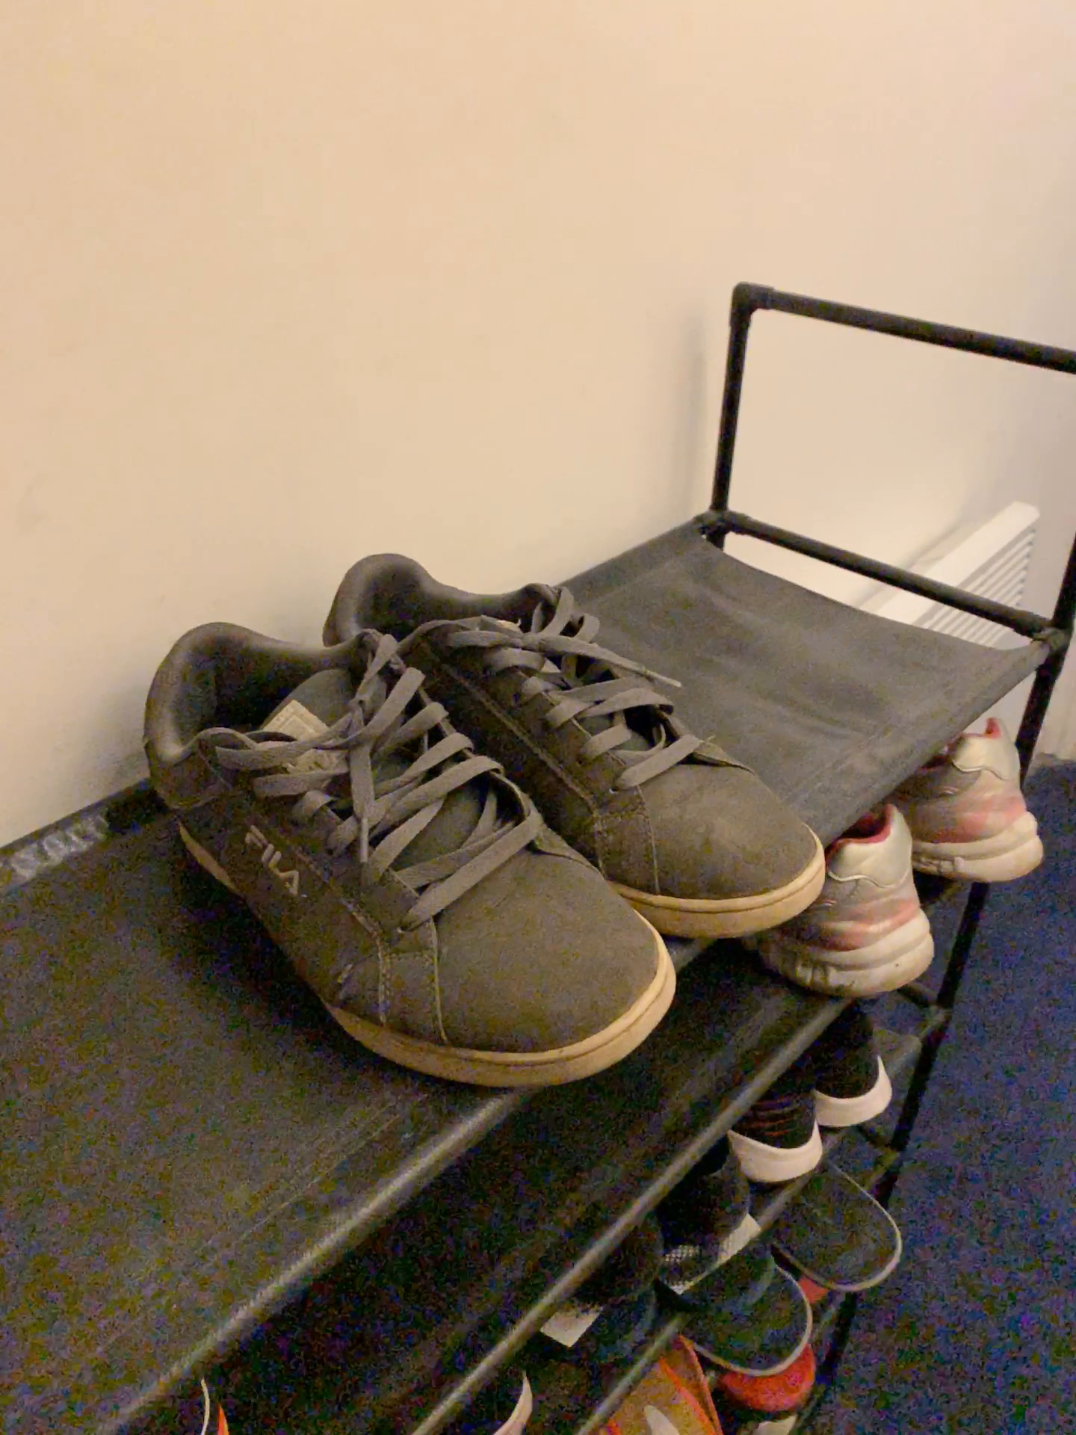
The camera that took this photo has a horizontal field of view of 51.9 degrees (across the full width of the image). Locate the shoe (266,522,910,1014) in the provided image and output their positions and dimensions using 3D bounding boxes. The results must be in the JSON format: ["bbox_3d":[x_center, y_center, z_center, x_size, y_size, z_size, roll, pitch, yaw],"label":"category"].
[{"bbox_3d":[0.009,0.002,0.541,0.121,0.079,0.301,-31,43,-35],"label":"shoe"}]

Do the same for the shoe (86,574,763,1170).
[{"bbox_3d":[-0.057,0.039,0.457,0.121,0.079,0.271,-31,43,-35],"label":"shoe"}]
